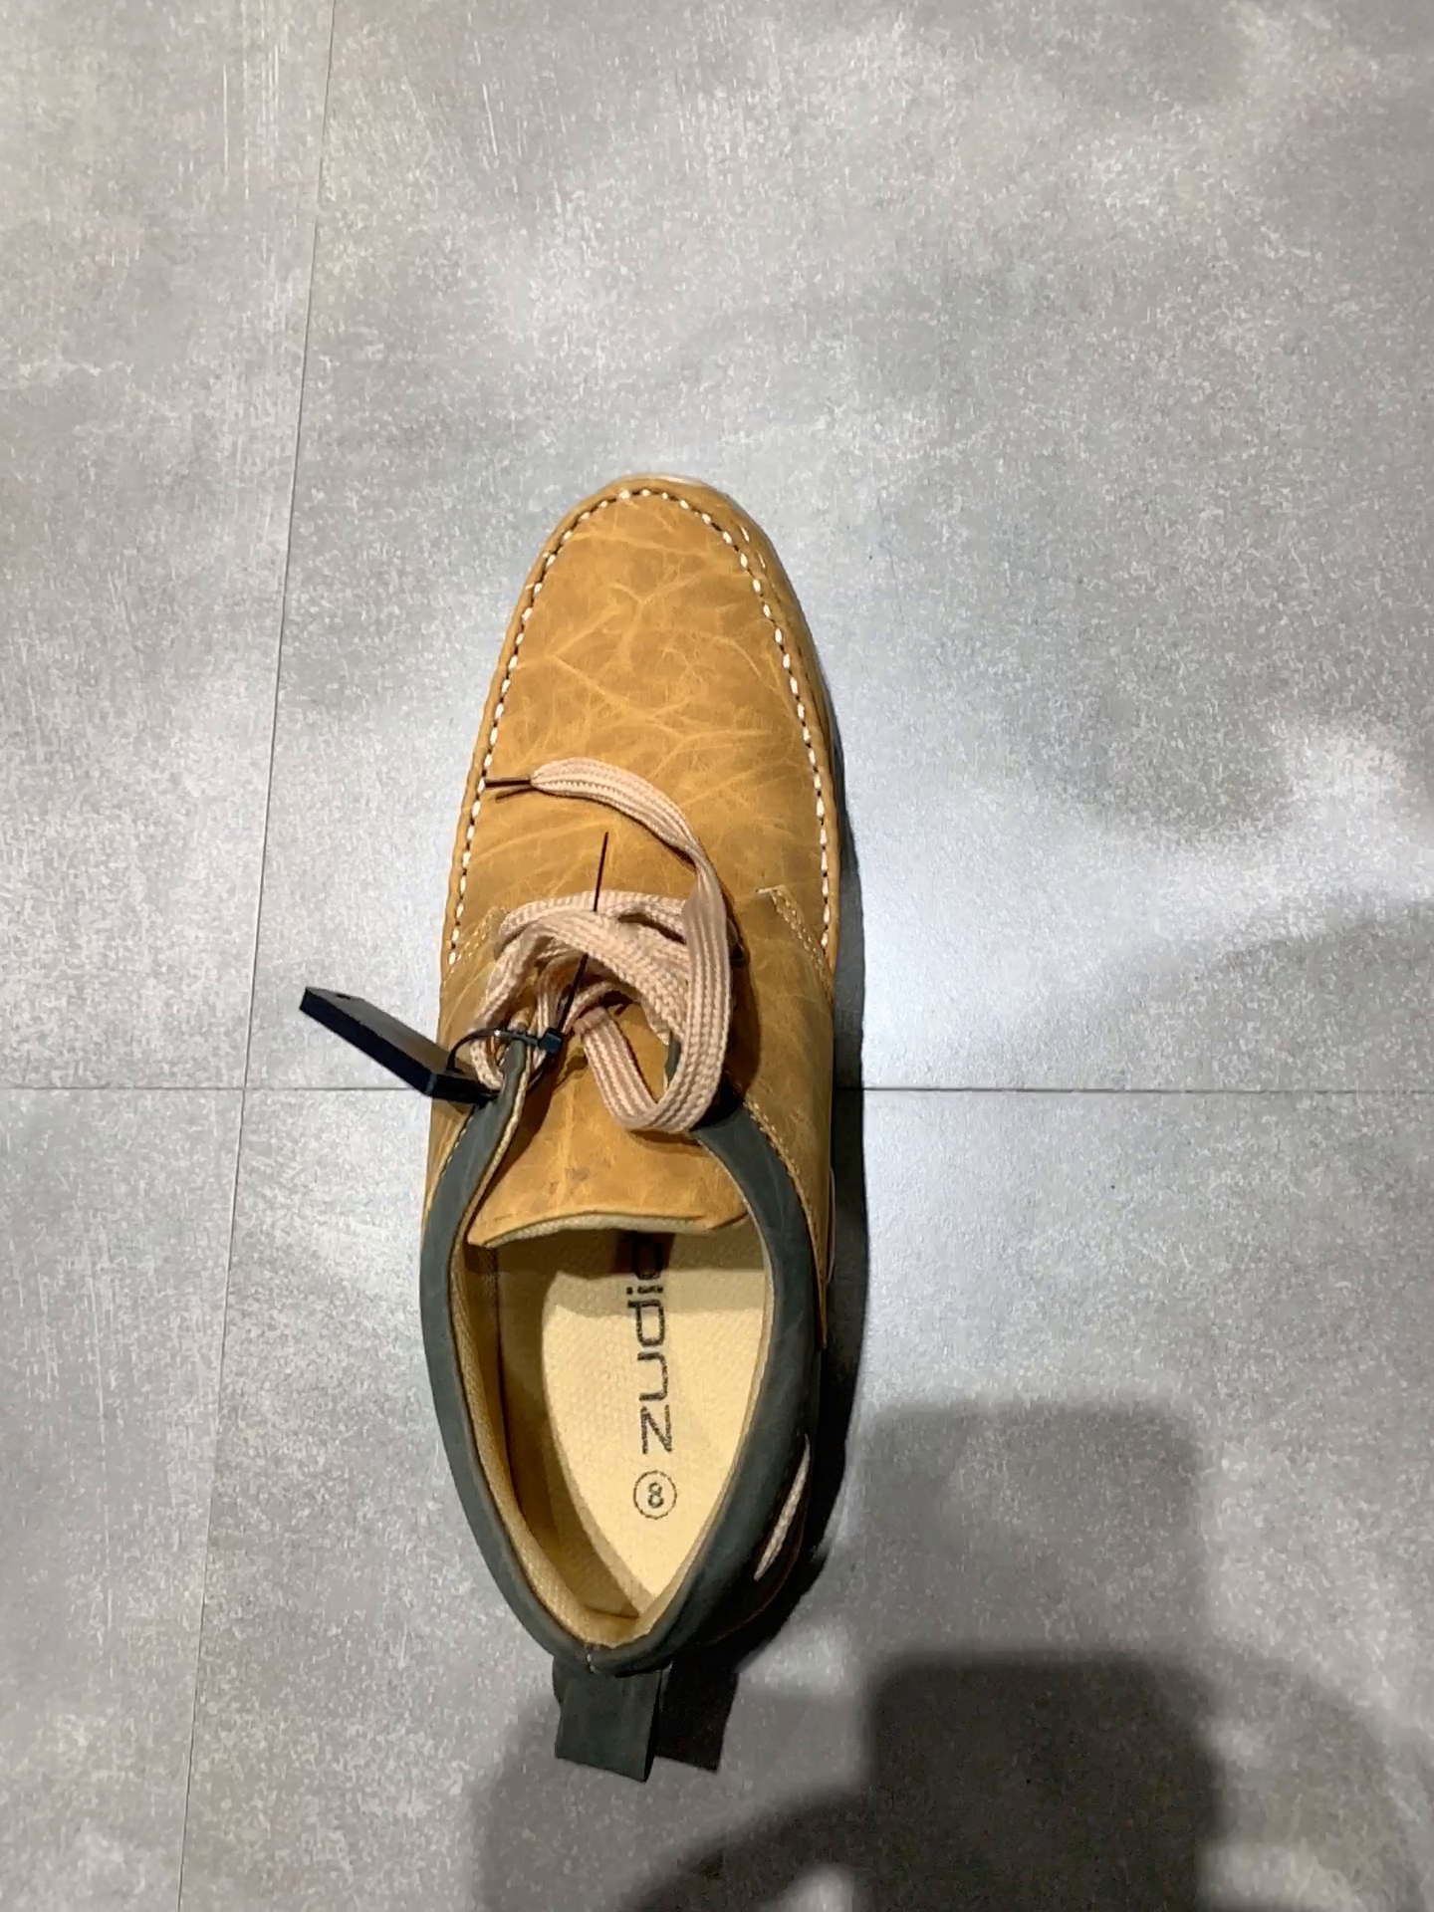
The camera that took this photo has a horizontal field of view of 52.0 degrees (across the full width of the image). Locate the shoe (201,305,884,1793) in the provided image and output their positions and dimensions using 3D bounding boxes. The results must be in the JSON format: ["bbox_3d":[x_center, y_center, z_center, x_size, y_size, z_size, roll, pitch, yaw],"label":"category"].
[{"bbox_3d":[-0.025,0.017,0.323,0.111,0.117,0.267,-2,77,6],"label":"shoe"}]
